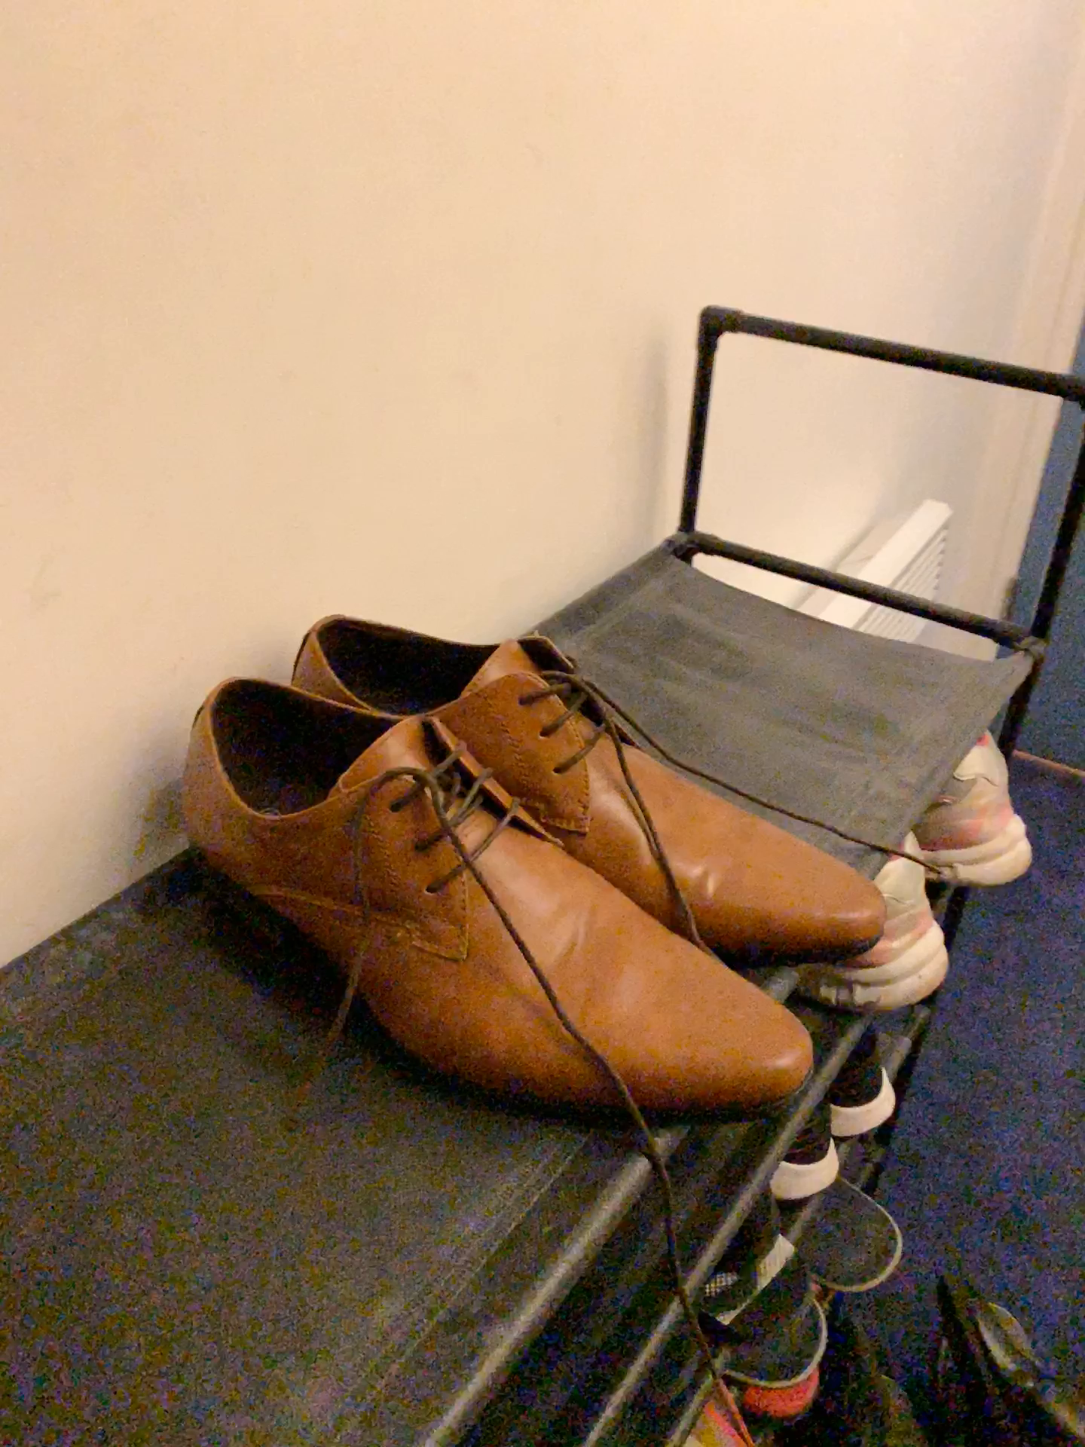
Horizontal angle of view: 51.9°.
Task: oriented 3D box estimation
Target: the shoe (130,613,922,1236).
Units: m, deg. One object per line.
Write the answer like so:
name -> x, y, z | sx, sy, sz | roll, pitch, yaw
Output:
shoe -> -0.014, 0.057, 0.430 | 0.271, 0.099, 0.111 | 19, 37, 27

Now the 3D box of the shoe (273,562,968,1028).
shoe -> 0.028, 0.019, 0.517 | 0.290, 0.099, 0.101 | 16, 36, 23
